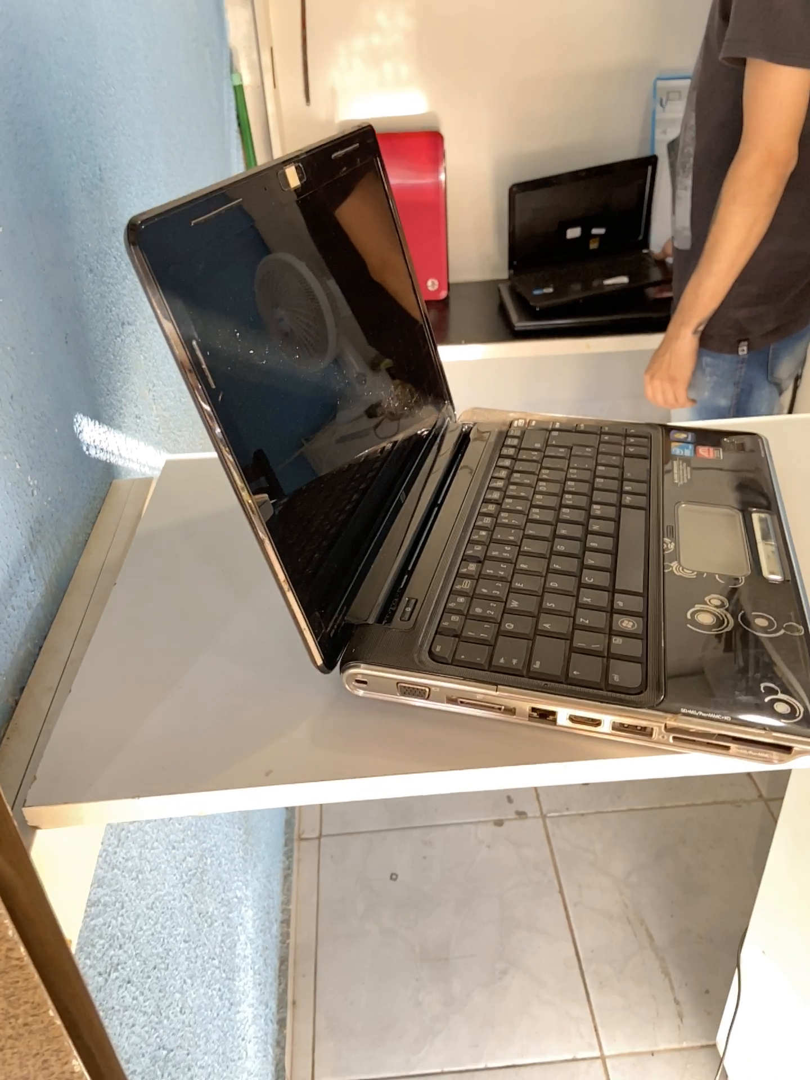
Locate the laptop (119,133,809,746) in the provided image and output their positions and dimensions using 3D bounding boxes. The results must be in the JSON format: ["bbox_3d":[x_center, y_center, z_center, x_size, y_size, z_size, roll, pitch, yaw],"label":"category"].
[{"bbox_3d":[0.080,-0.099,0.483,0.301,0.211,0.323,6,33,13],"label":"laptop"}]
